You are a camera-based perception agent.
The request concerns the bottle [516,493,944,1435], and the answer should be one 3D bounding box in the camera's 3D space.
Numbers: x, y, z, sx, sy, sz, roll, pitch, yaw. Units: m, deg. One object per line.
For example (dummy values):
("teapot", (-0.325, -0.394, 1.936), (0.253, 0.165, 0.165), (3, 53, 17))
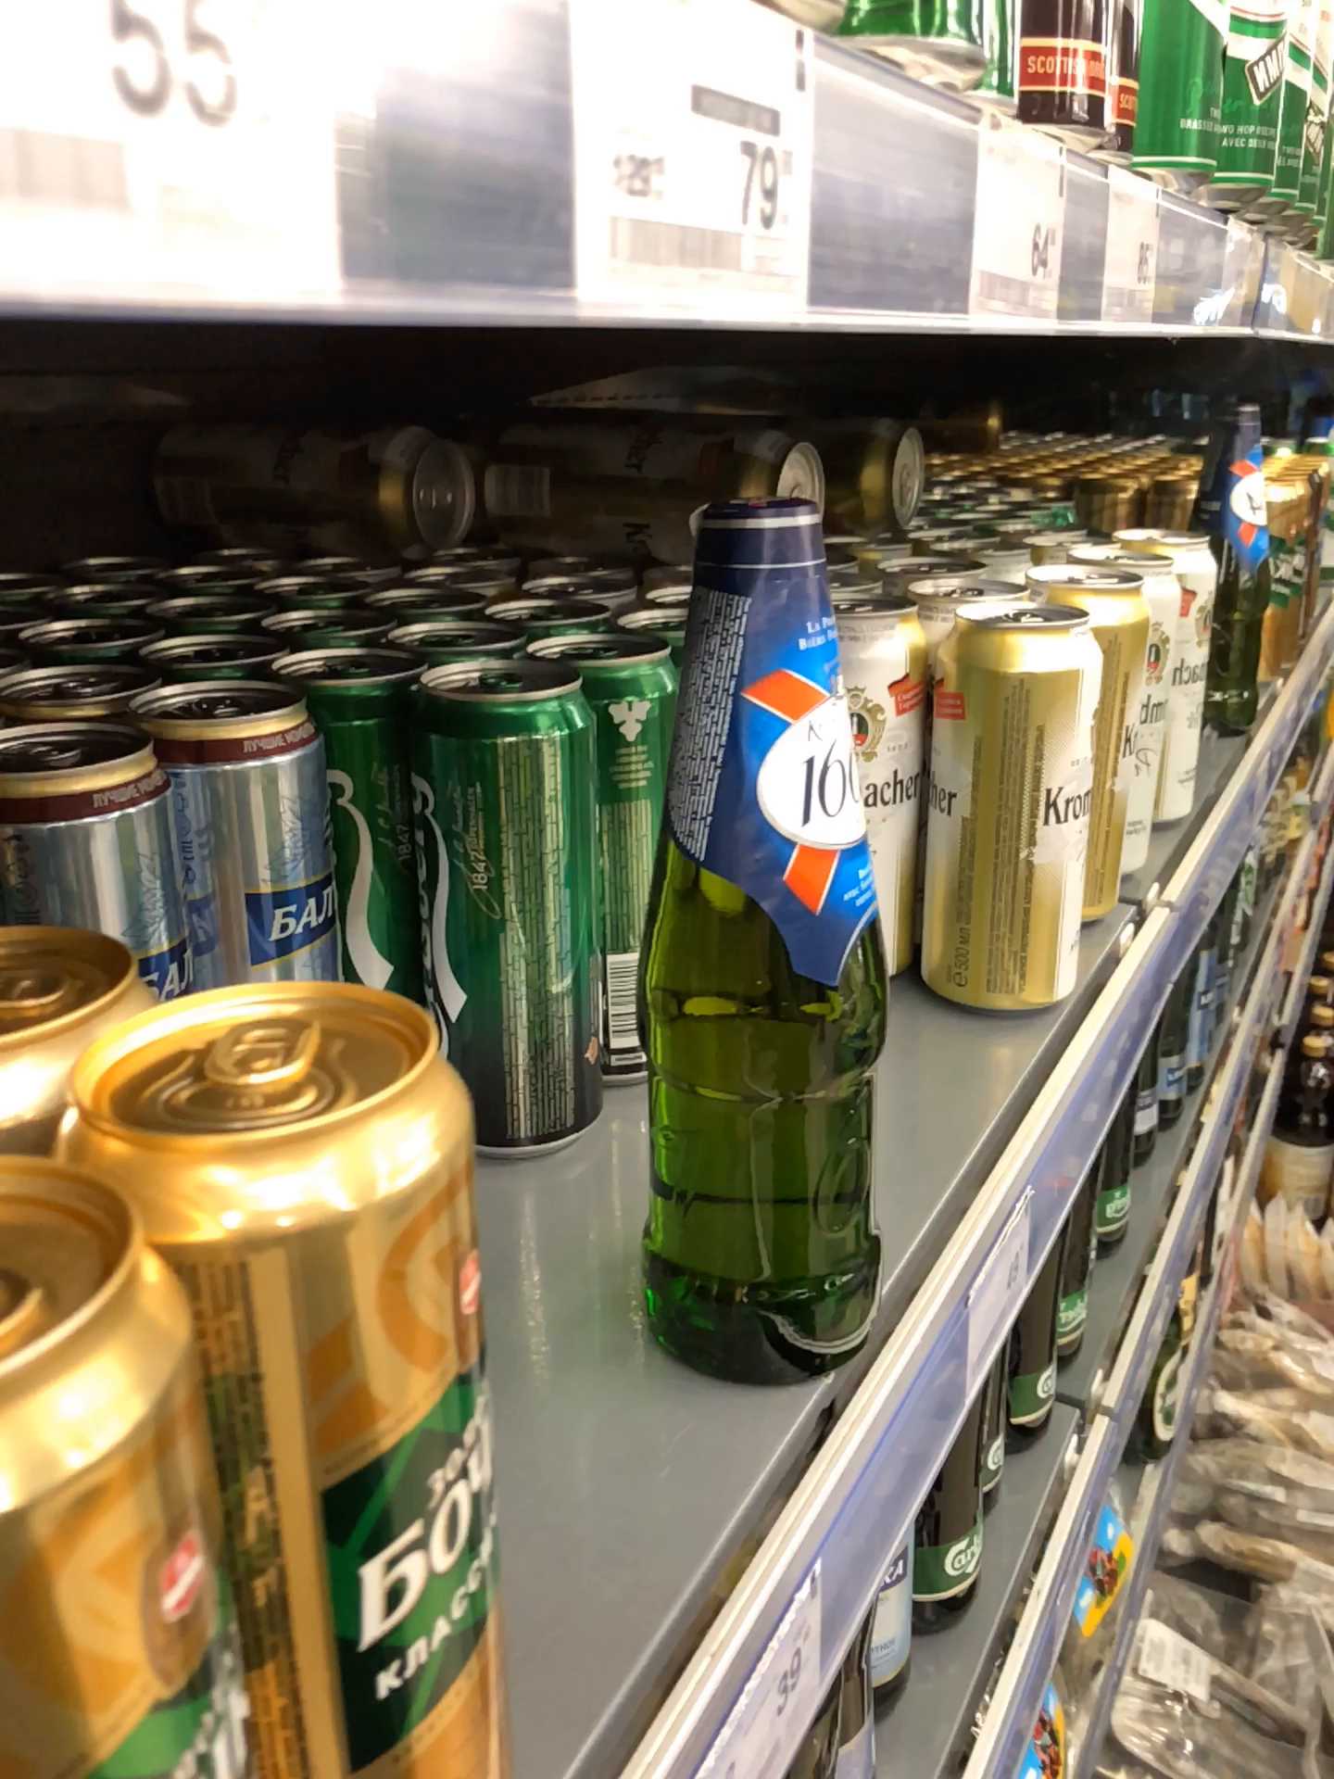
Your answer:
("bottle", (0.019, 0.016, 0.395), (0.080, 0.229, 0.080), (0, 19, 0))
